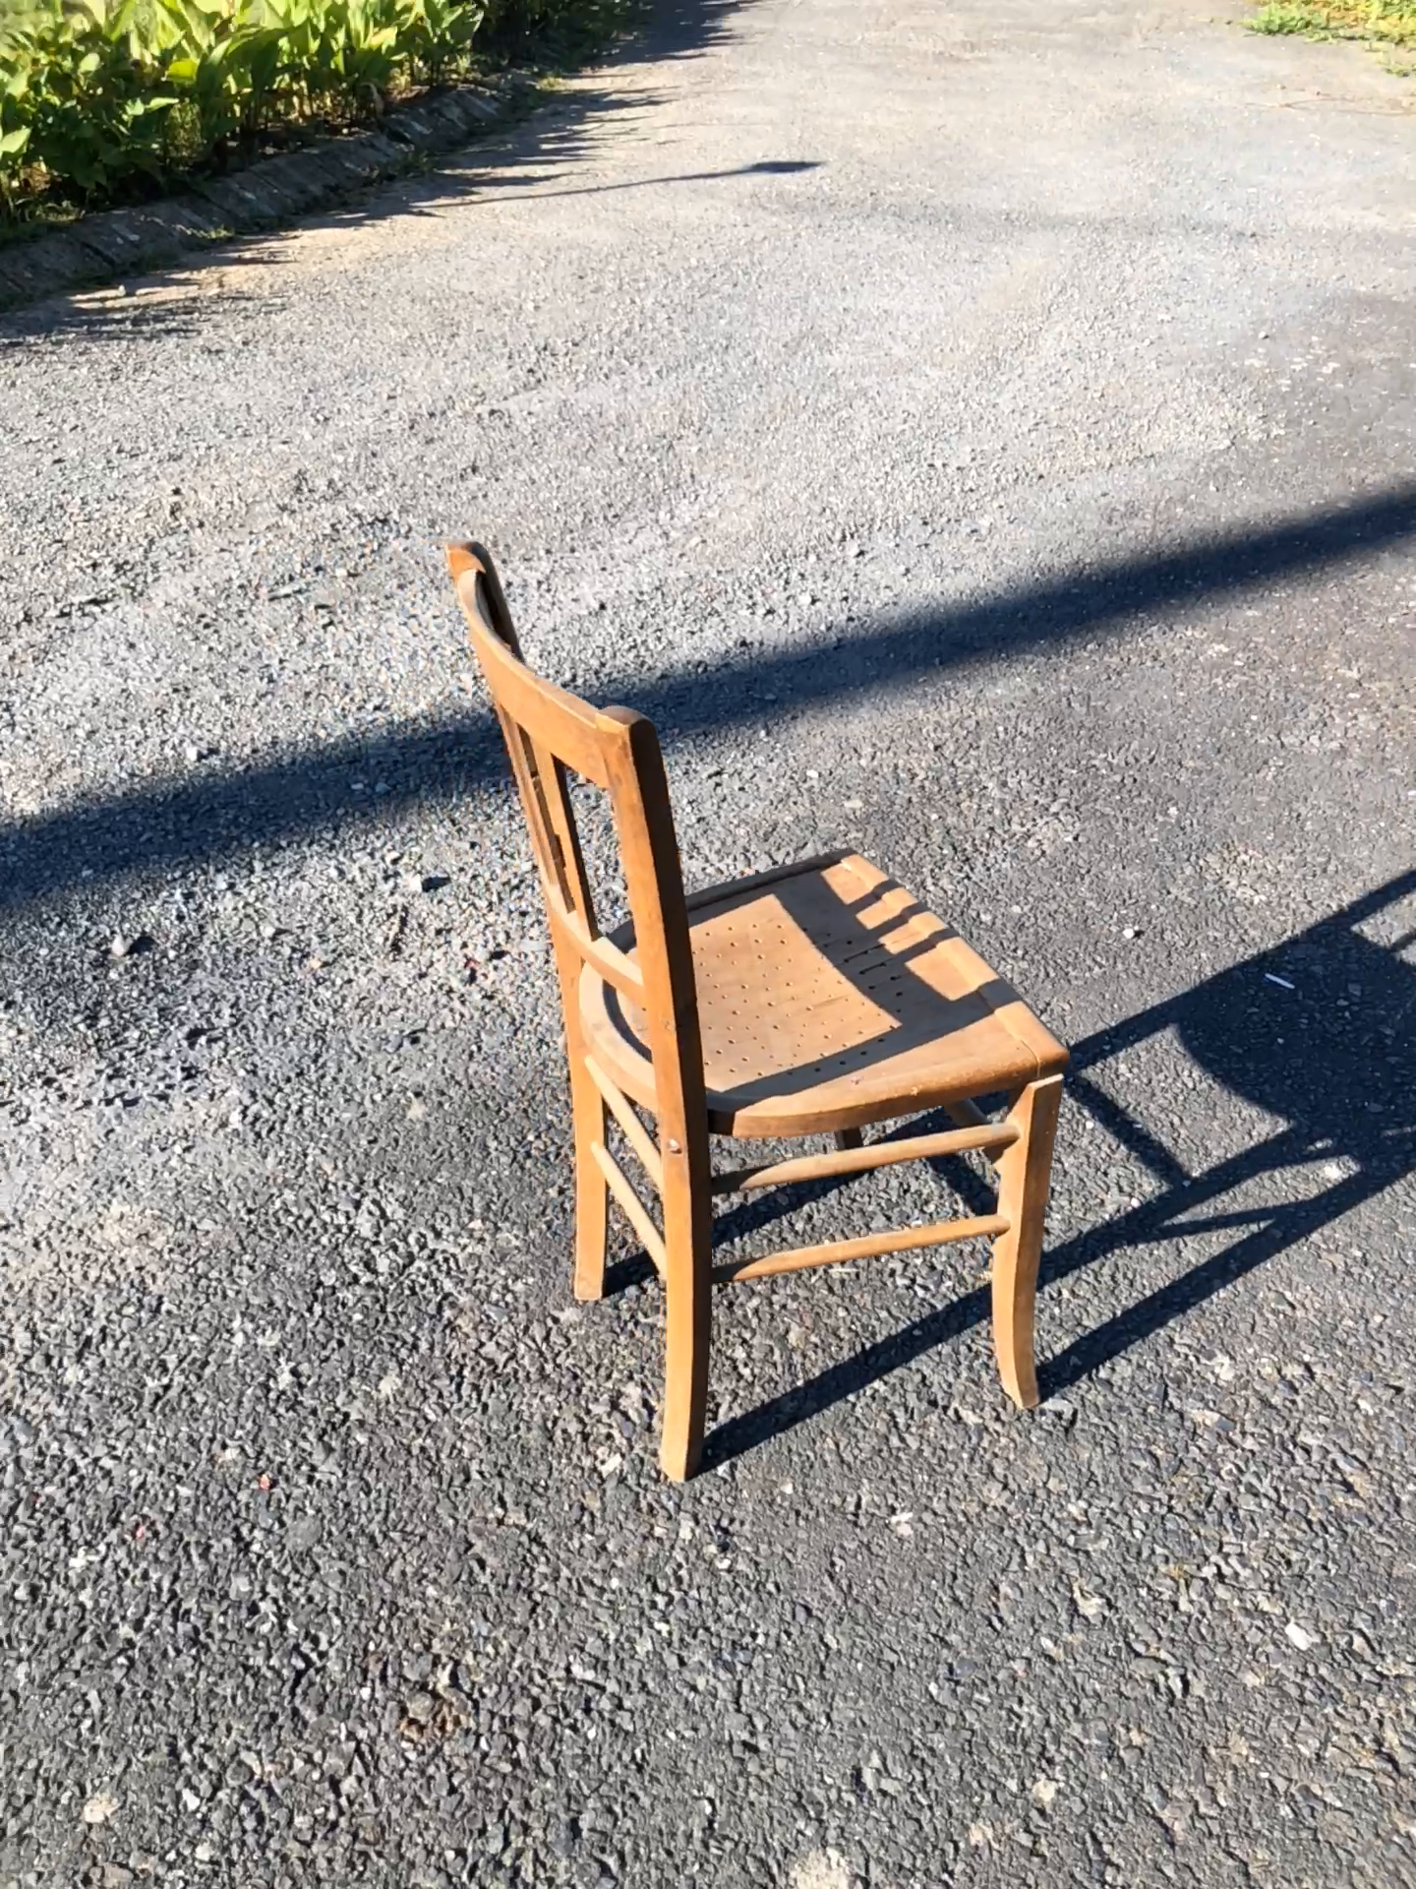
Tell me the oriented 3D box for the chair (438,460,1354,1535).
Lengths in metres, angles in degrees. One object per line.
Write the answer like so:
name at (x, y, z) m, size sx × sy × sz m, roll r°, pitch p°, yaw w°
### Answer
chair at (0.088, 0.014, 1.380) m, size 0.541 × 0.736 × 0.492 m, roll -8°, pitch 34°, yaw -21°
